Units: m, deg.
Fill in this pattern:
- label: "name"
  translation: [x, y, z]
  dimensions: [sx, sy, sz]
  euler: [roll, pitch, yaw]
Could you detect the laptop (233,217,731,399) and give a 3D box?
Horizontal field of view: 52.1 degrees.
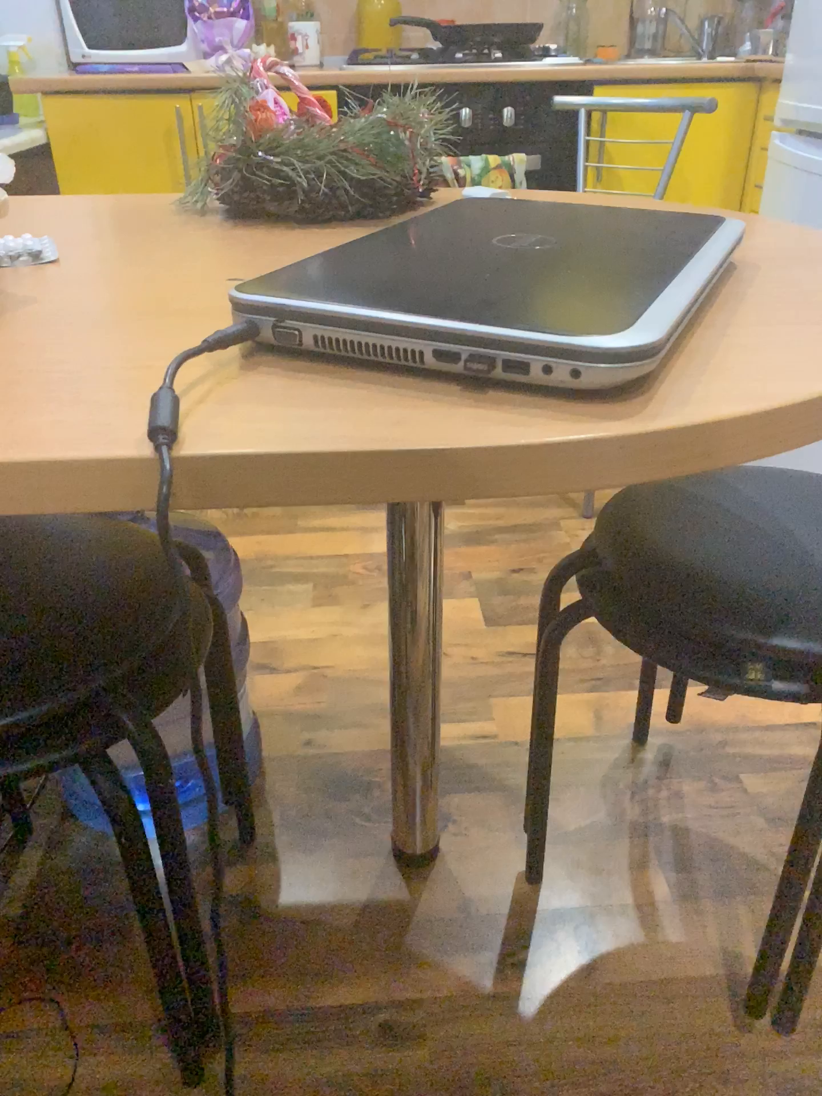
- label: "laptop"
  translation: [0.077, -0.185, 0.581]
  dimensions: [0.225, 0.004, 0.351]
  euler: [17, 35, 22]
